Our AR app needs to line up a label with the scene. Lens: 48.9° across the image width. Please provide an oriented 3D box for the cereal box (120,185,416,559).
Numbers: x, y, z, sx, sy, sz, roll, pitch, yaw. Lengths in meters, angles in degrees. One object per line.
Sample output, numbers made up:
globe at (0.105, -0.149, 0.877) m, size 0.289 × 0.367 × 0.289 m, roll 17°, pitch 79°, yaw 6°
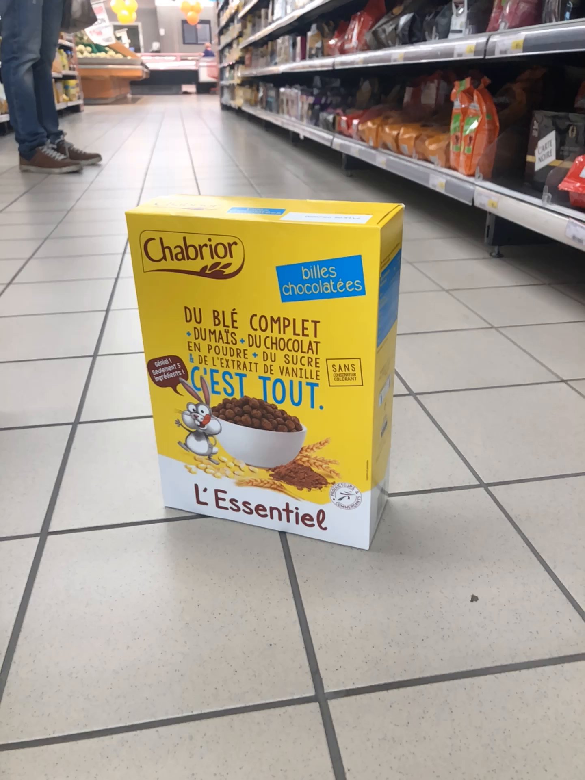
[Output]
cereal box at (-0.016, -0.020, 0.531) m, size 0.200 × 0.269 × 0.091 m, roll 9°, pitch 26°, yaw 19°
